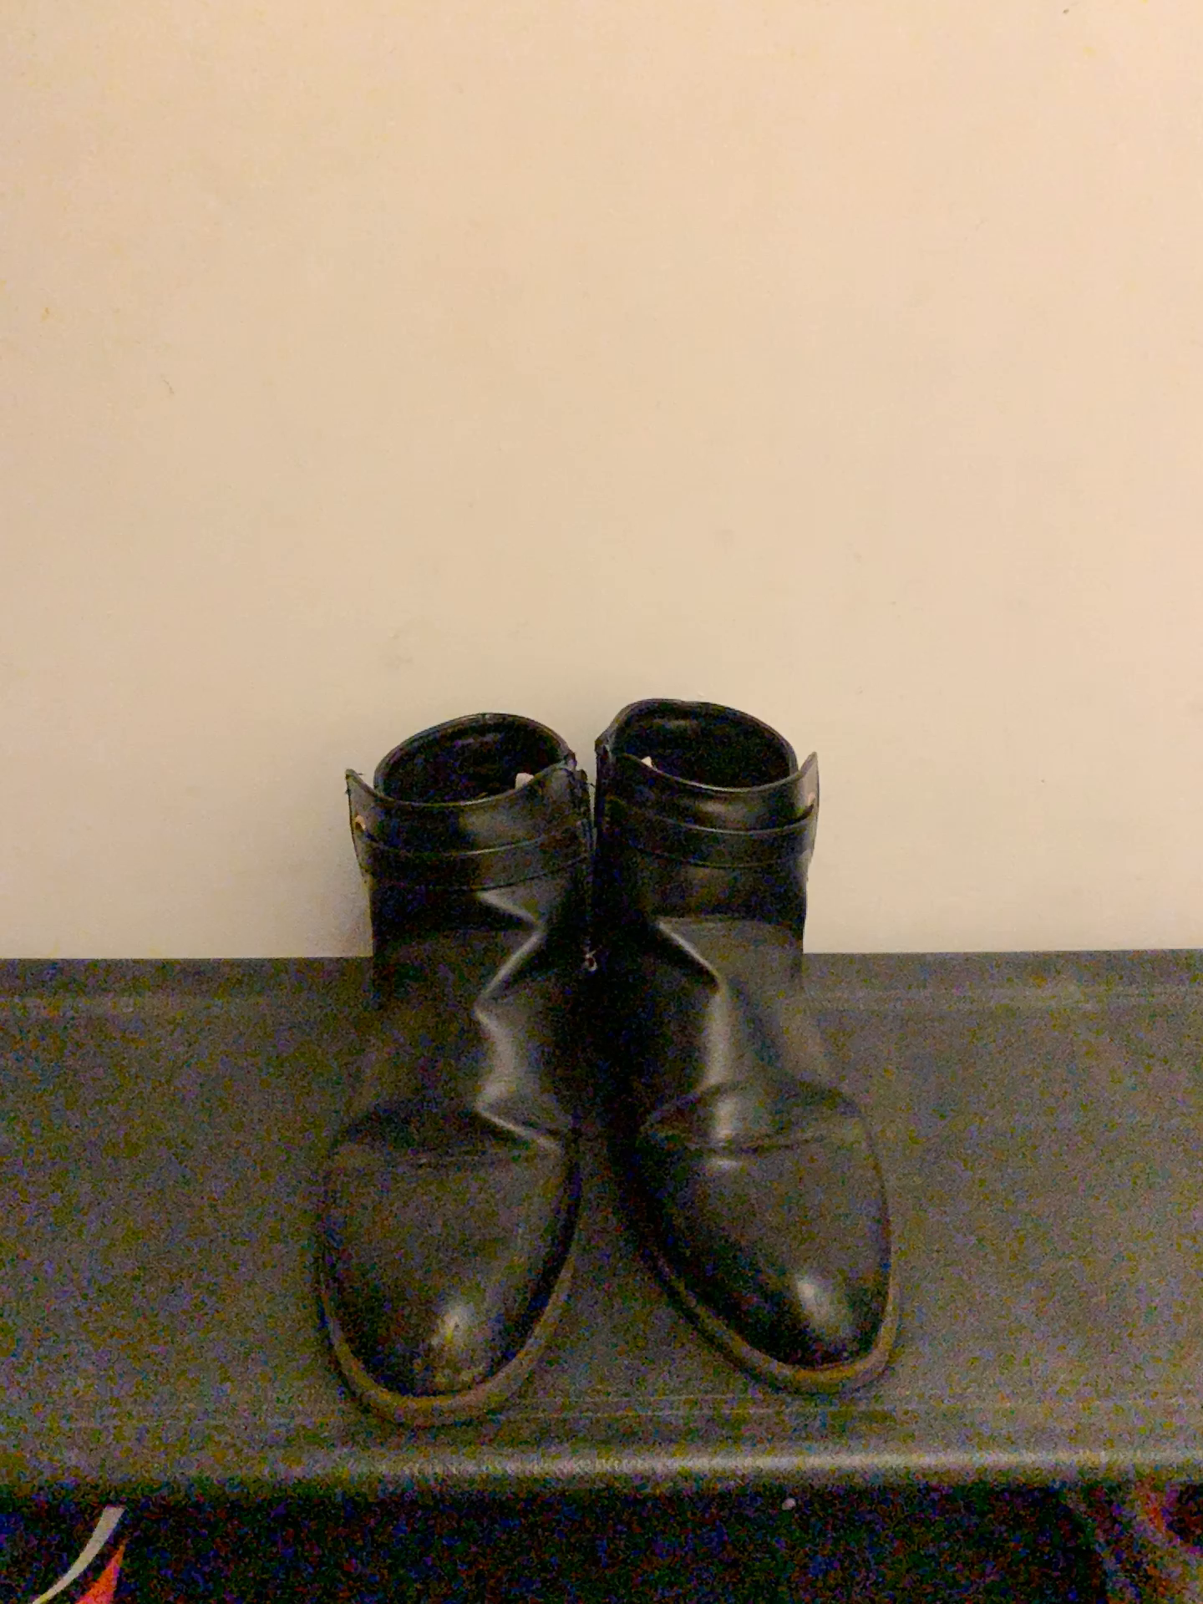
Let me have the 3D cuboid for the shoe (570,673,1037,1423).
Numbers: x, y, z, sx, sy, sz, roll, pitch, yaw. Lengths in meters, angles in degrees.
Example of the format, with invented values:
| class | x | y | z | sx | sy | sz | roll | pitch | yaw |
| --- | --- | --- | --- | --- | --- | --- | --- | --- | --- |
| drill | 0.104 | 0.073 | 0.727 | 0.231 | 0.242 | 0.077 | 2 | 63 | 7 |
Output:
| class | x | y | z | sx | sy | sz | roll | pitch | yaw |
| --- | --- | --- | --- | --- | --- | --- | --- | --- | --- |
| shoe | 0.052 | 0.070 | 0.478 | 0.100 | 0.169 | 0.242 | -2 | 24 | -8 |

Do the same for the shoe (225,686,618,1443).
| class | x | y | z | sx | sy | sz | roll | pitch | yaw |
| --- | --- | --- | --- | --- | --- | --- | --- | --- | --- |
| shoe | -0.049 | 0.075 | 0.450 | 0.100 | 0.169 | 0.222 | 1 | 24 | -1 |
